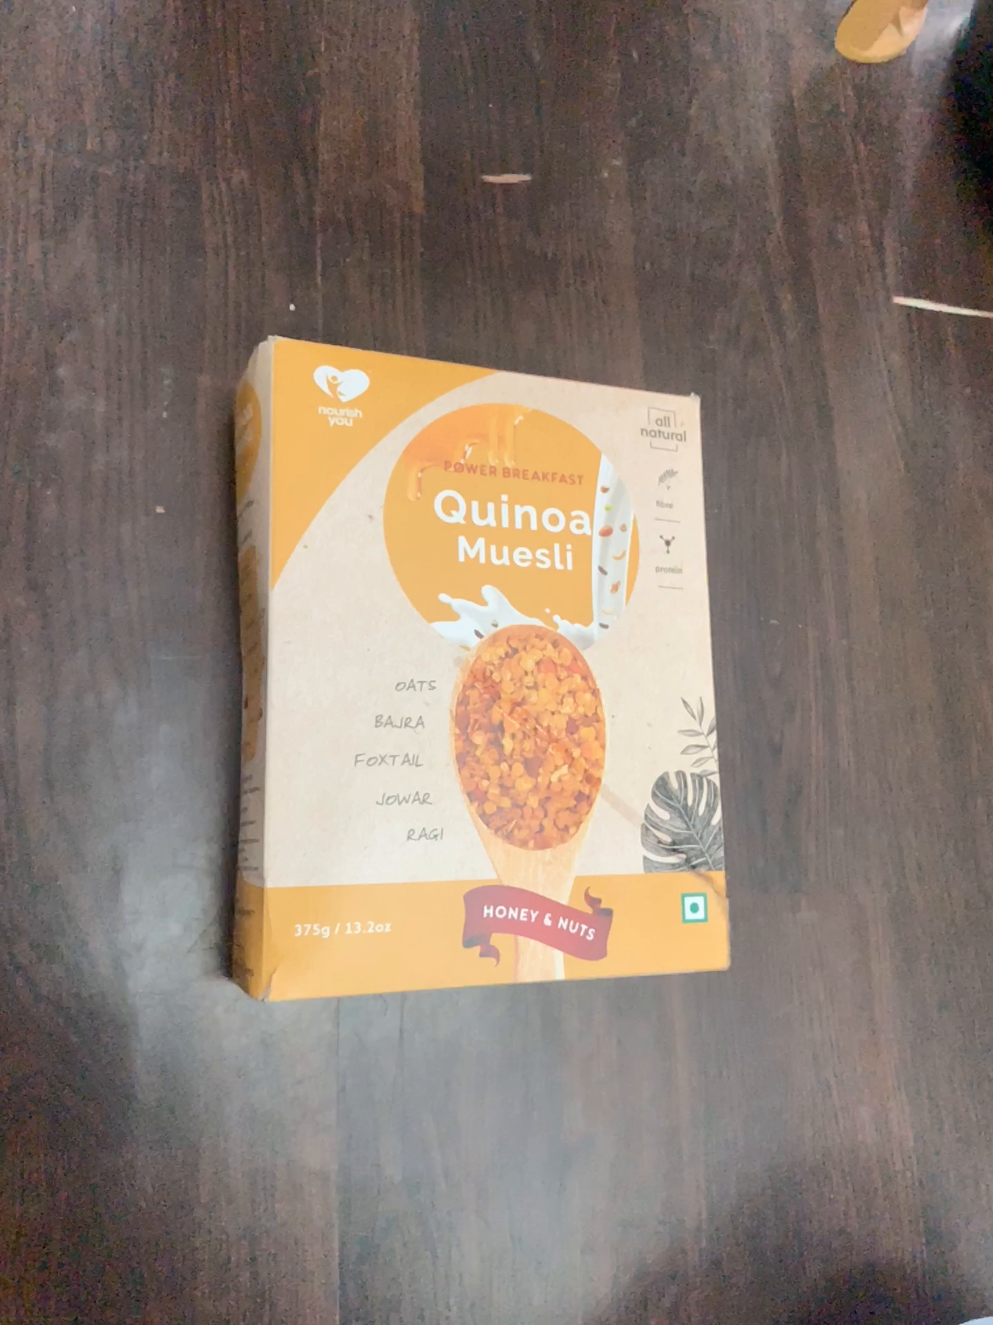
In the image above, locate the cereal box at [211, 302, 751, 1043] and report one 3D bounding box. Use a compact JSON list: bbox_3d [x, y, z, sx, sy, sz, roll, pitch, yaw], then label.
[{"bbox_3d":[-0.005,0.005,0.358,0.170,0.060,0.220,3,81,-19],"label":"cereal box"}]
